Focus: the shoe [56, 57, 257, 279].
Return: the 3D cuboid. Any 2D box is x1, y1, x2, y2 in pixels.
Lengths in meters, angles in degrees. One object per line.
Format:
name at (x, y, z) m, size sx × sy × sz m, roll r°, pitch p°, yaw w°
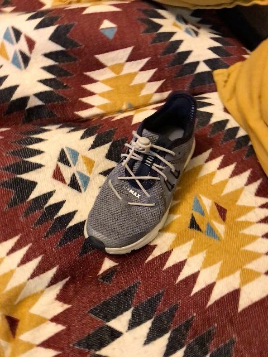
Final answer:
shoe at (0.031, -0.019, 0.309) m, size 0.094 × 0.074 × 0.212 m, roll 32°, pitch 65°, yaw 12°
